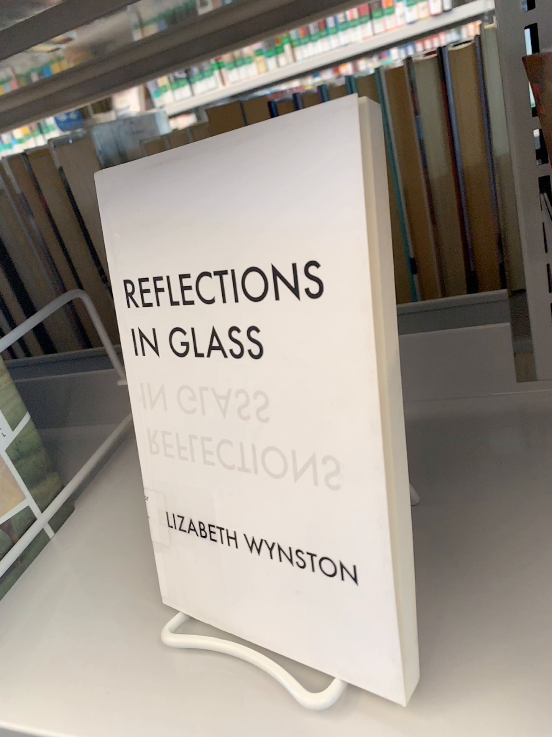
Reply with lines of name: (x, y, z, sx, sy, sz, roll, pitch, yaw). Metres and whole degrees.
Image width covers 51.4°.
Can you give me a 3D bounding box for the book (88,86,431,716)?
book: (-0.011, 0.015, 0.219, 0.128, 0.196, 0.018, 2, 13, 38)
